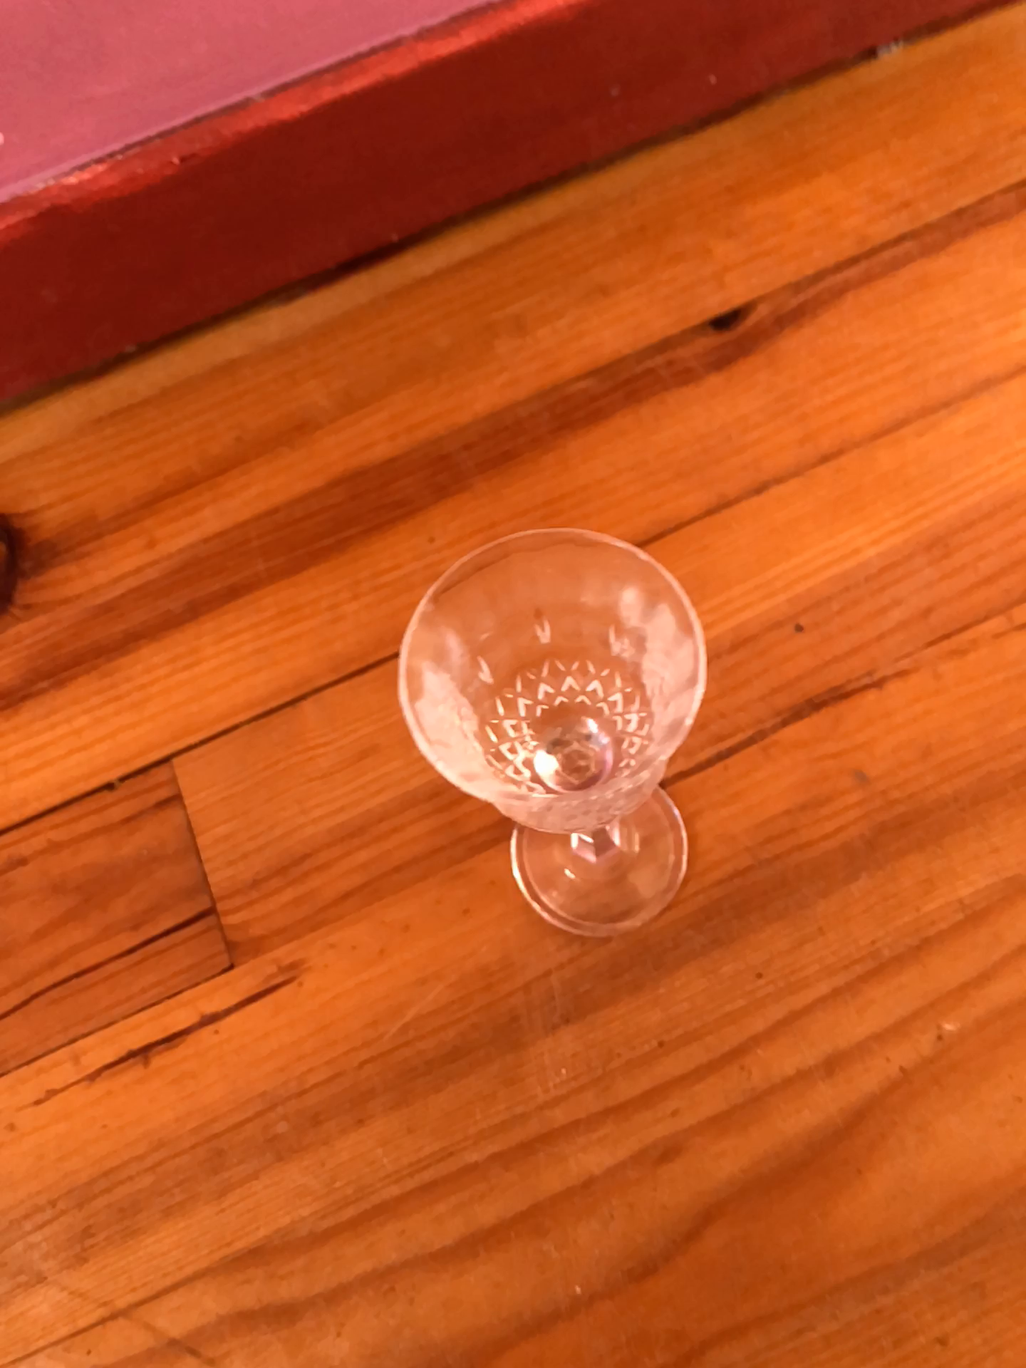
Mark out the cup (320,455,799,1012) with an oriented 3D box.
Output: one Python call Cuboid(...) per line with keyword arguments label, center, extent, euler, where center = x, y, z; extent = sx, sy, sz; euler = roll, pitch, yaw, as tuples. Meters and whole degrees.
Cuboid(label="cup", center=(0.016, 0.021, 0.256), extent=(0.058, 0.133, 0.061), euler=(-3, 66, 6))
